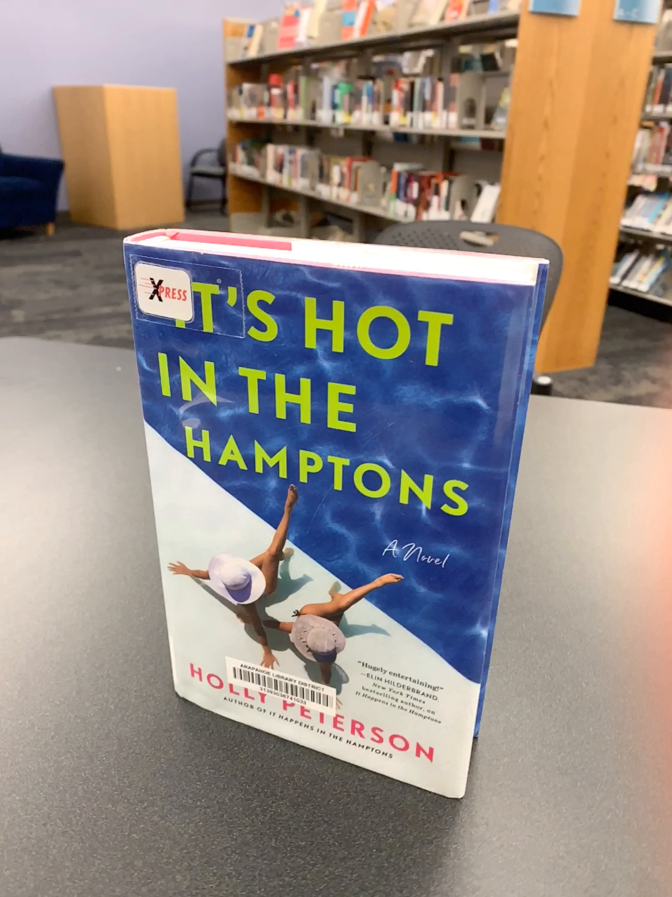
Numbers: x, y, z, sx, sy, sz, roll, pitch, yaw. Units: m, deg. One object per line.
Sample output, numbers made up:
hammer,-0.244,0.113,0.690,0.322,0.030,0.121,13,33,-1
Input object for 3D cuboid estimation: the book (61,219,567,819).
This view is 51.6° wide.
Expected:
book,-0.013,0.029,0.289,0.170,0.219,0.050,11,27,19
